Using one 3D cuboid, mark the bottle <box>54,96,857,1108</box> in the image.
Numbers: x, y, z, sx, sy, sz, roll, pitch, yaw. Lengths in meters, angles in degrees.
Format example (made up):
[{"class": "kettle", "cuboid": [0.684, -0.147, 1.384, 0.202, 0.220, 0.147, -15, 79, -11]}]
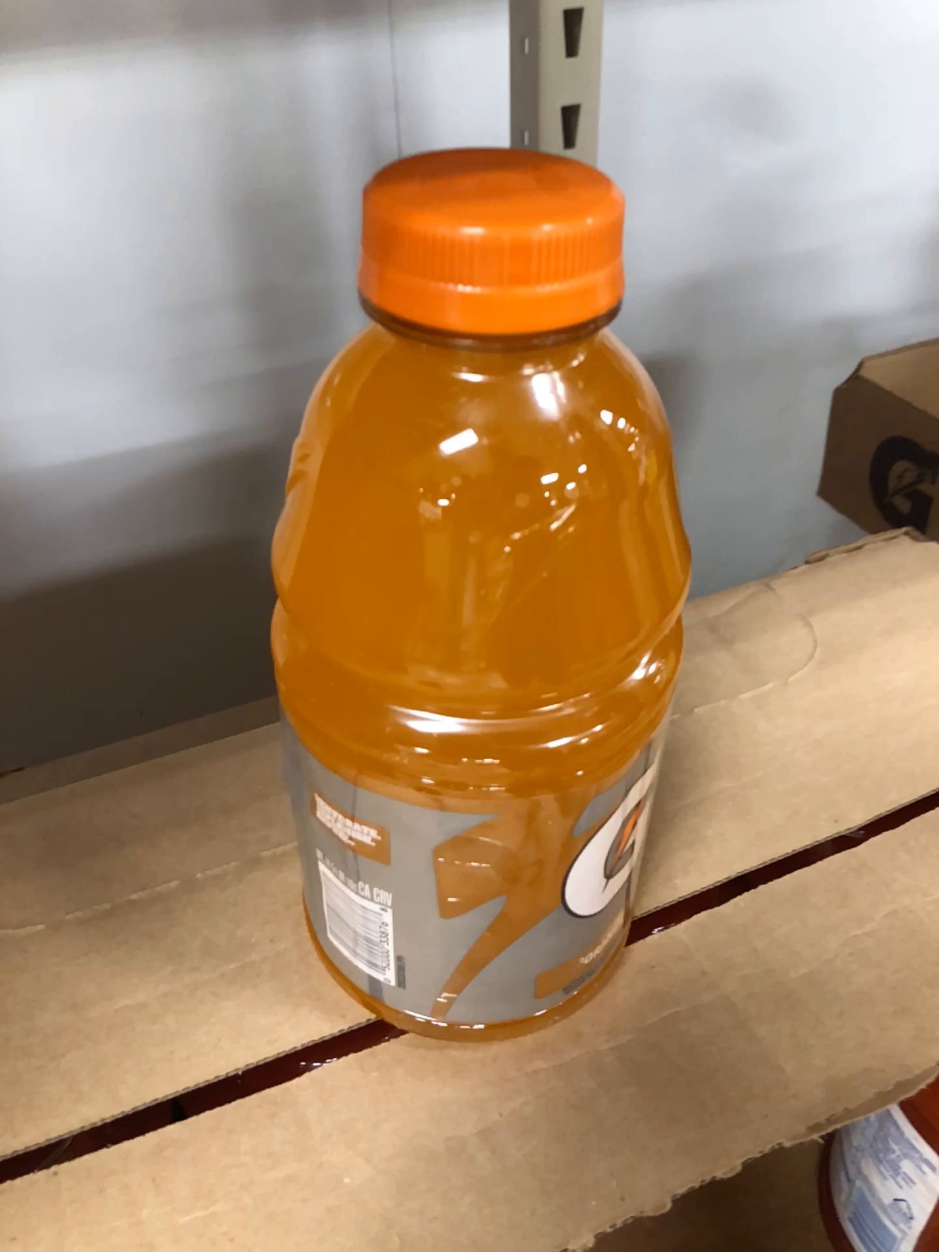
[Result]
[{"class": "bottle", "cuboid": [0.002, -0.005, 0.230, 0.100, 0.180, 0.092, -1, 38, 1]}]
